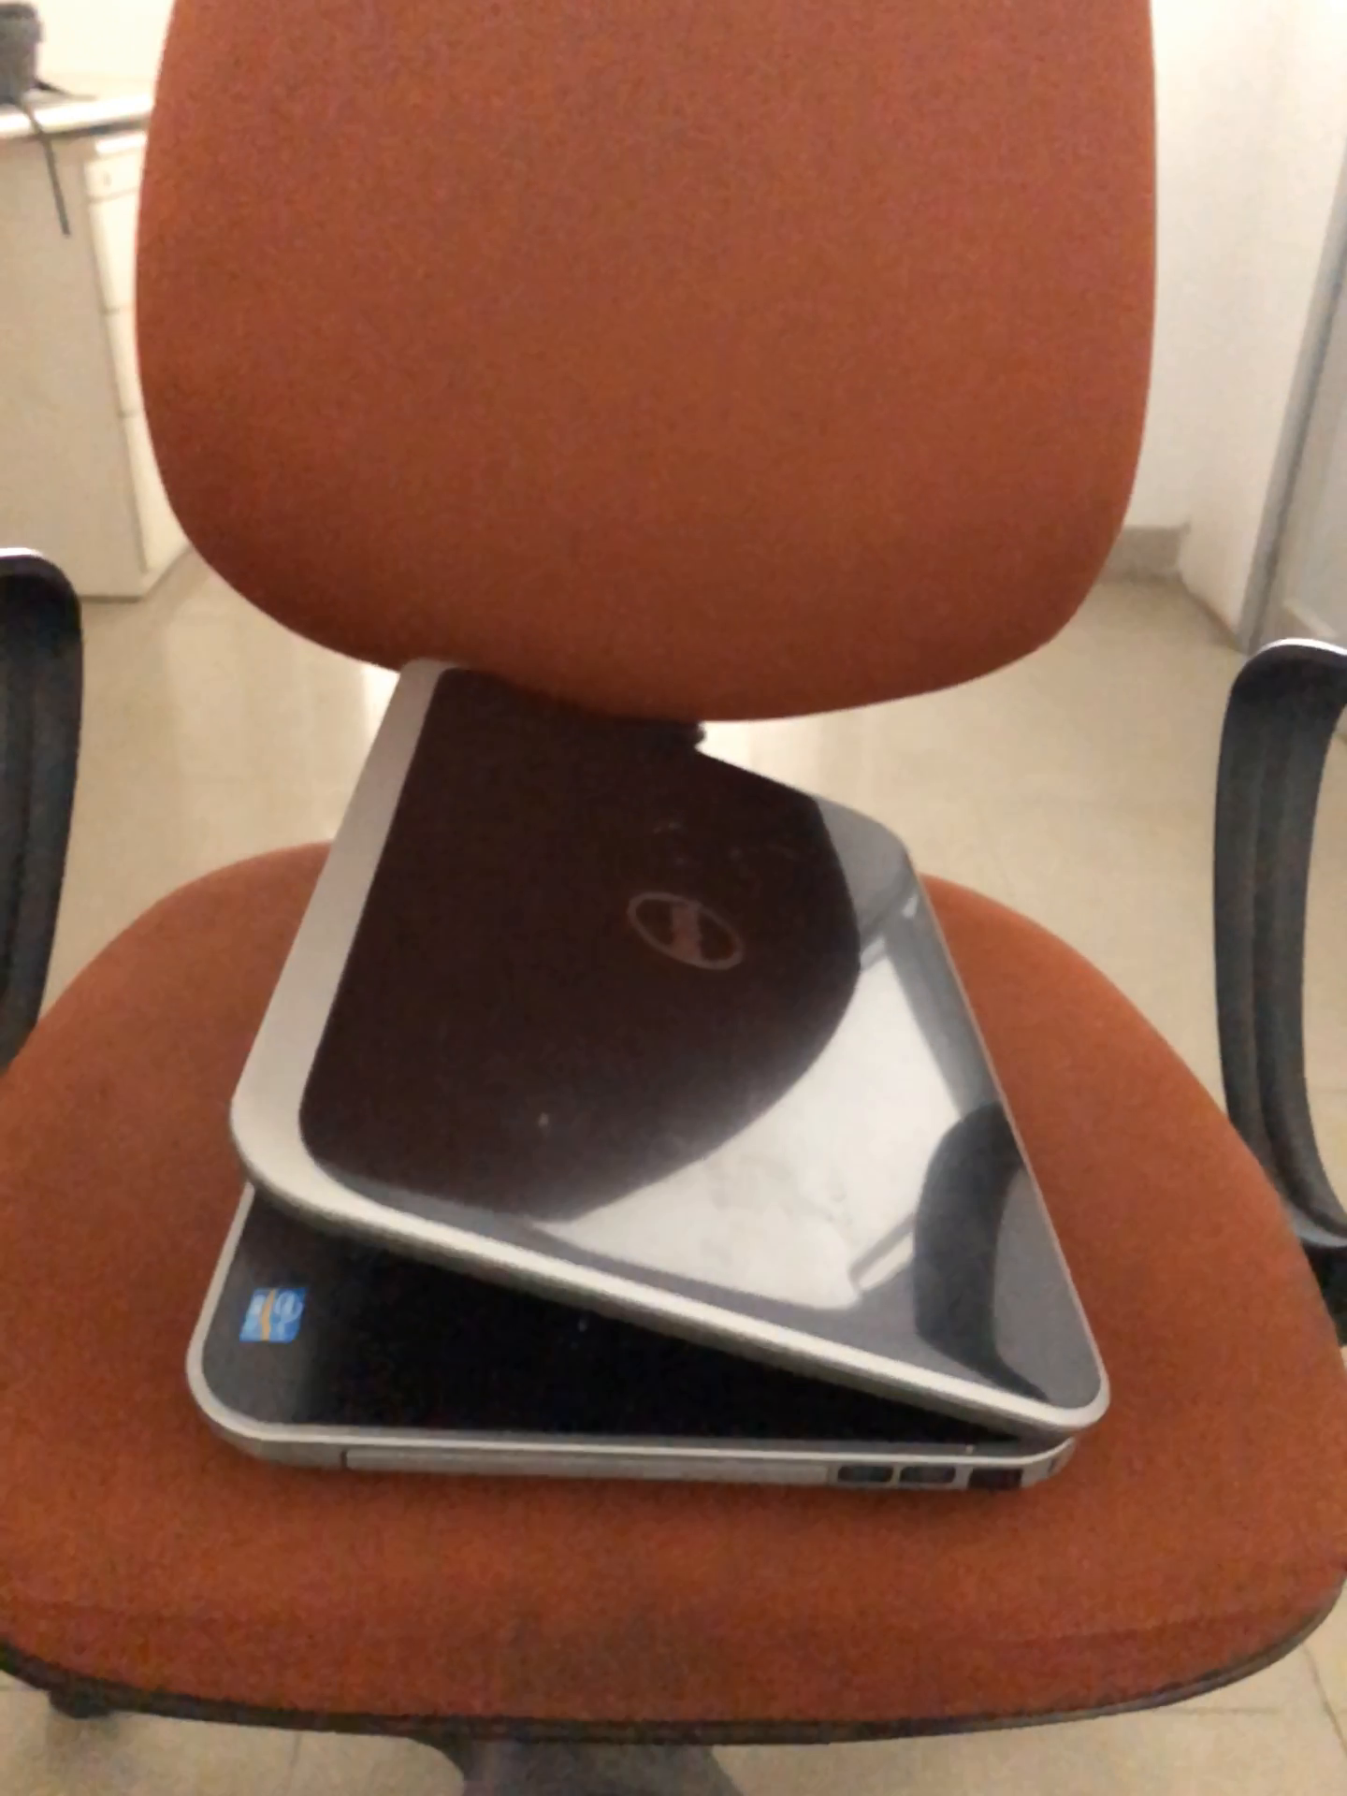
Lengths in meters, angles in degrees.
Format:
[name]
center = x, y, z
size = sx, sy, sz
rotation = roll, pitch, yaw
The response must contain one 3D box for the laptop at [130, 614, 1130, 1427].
[laptop]
center = -0.014, 0.008, 0.533
size = 0.233, 0.090, 0.368
rotation = 3, 28, -4
